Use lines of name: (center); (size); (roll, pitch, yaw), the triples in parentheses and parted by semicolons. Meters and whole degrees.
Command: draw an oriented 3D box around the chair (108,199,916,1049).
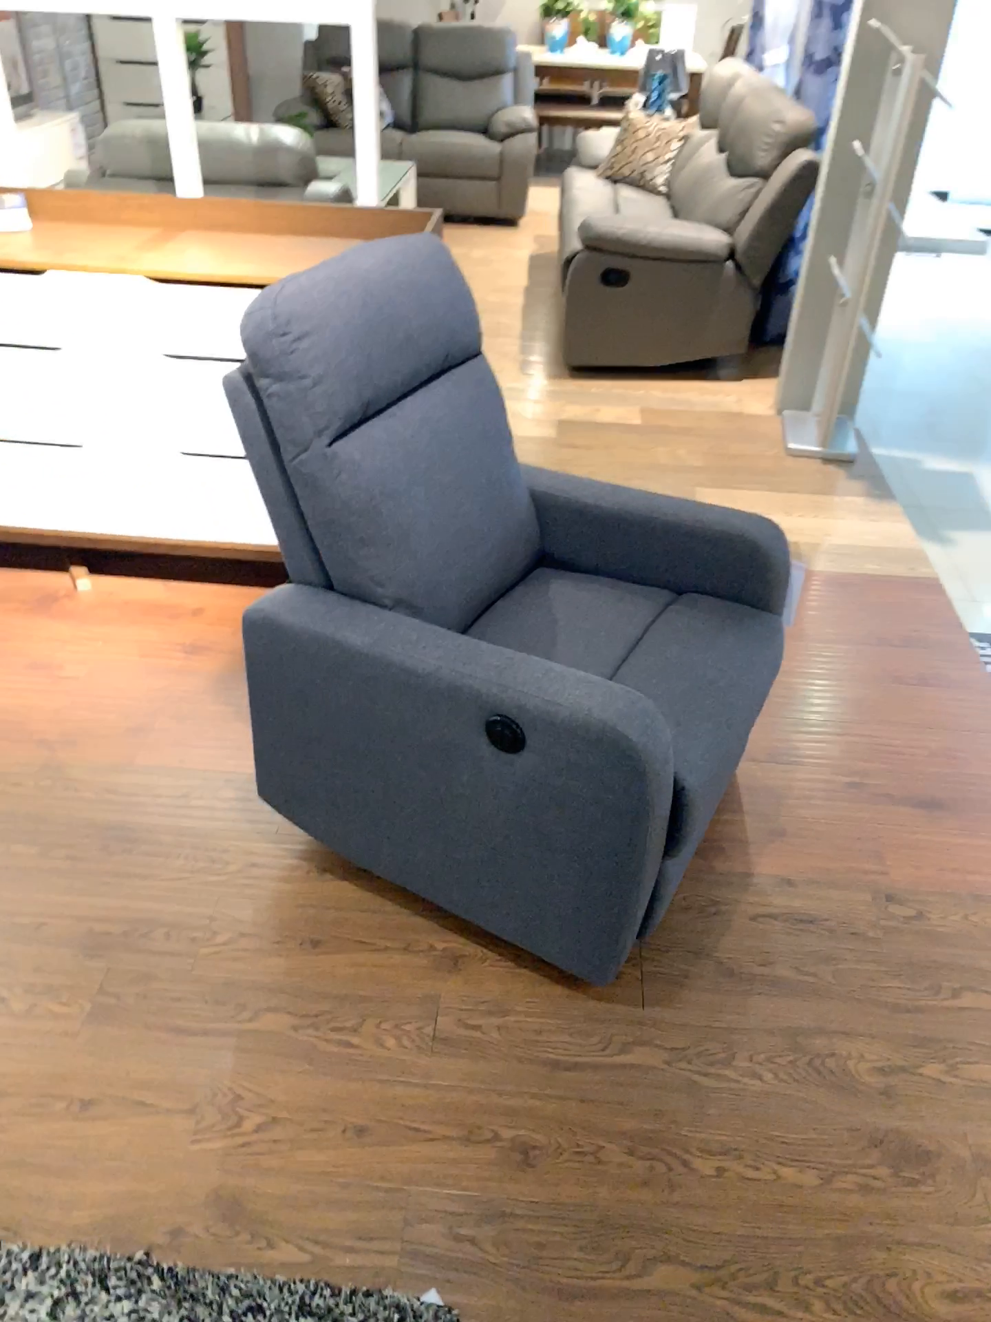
chair: (0.083, -0.156, 1.778); (0.880, 0.966, 0.934); (18, 39, 21)
